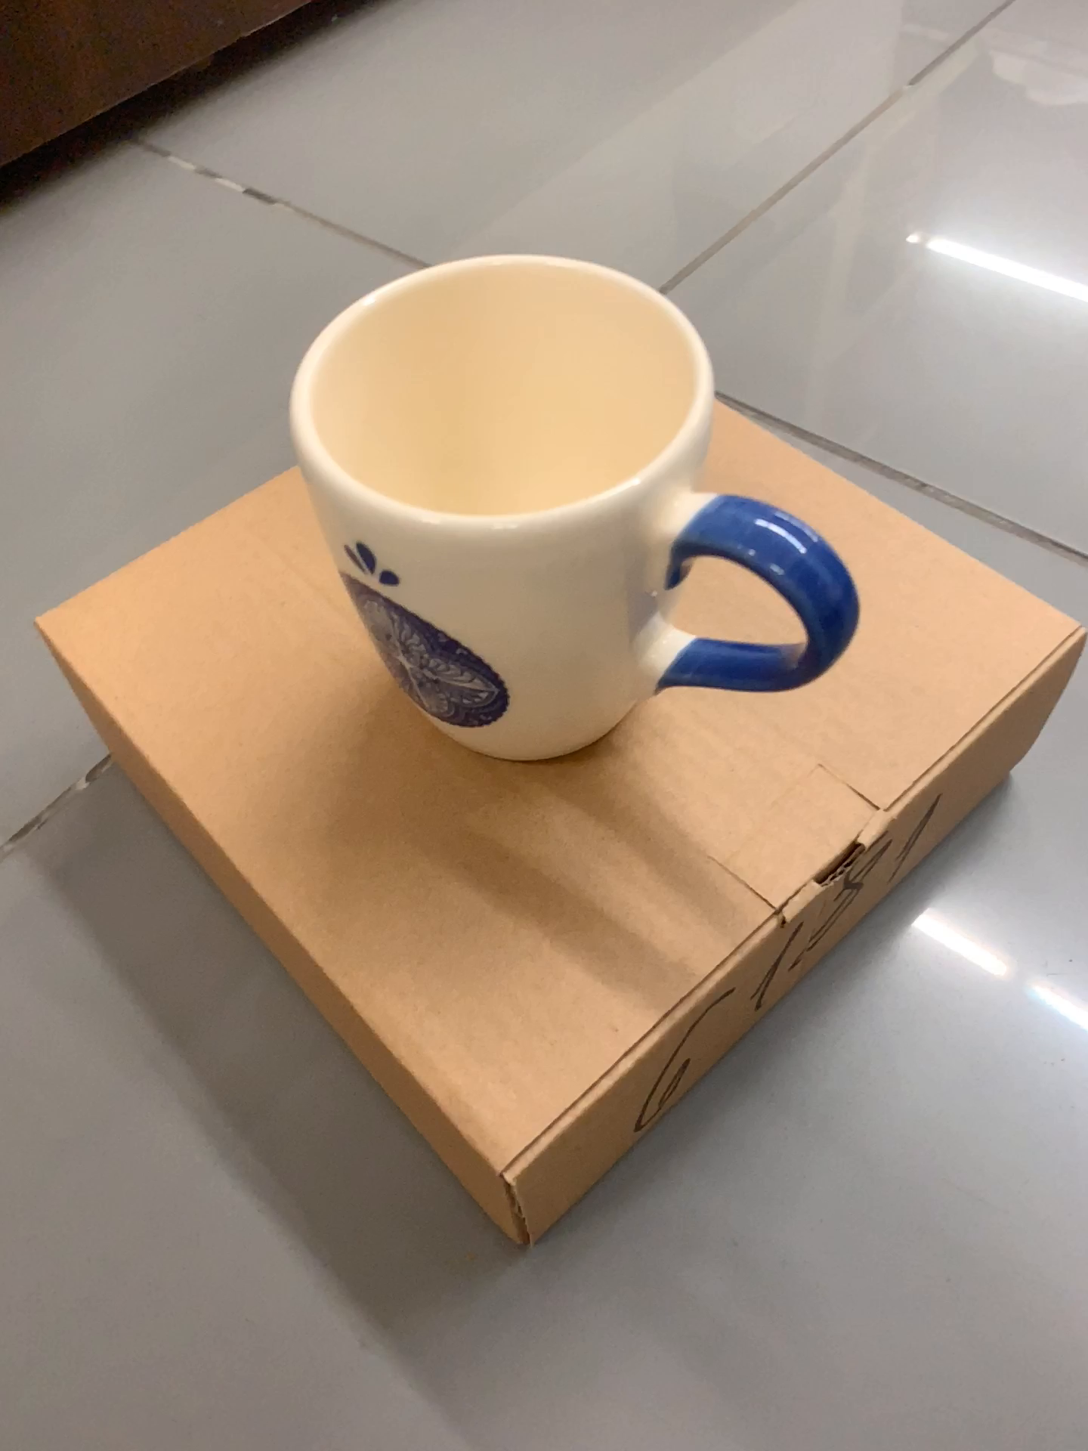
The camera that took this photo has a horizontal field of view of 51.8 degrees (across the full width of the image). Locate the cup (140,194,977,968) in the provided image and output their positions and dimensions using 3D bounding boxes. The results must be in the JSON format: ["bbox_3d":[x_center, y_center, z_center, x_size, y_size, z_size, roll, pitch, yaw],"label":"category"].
[{"bbox_3d":[0.001,-0.037,0.257,0.140,0.090,0.090,34,63,24],"label":"cup"}]
